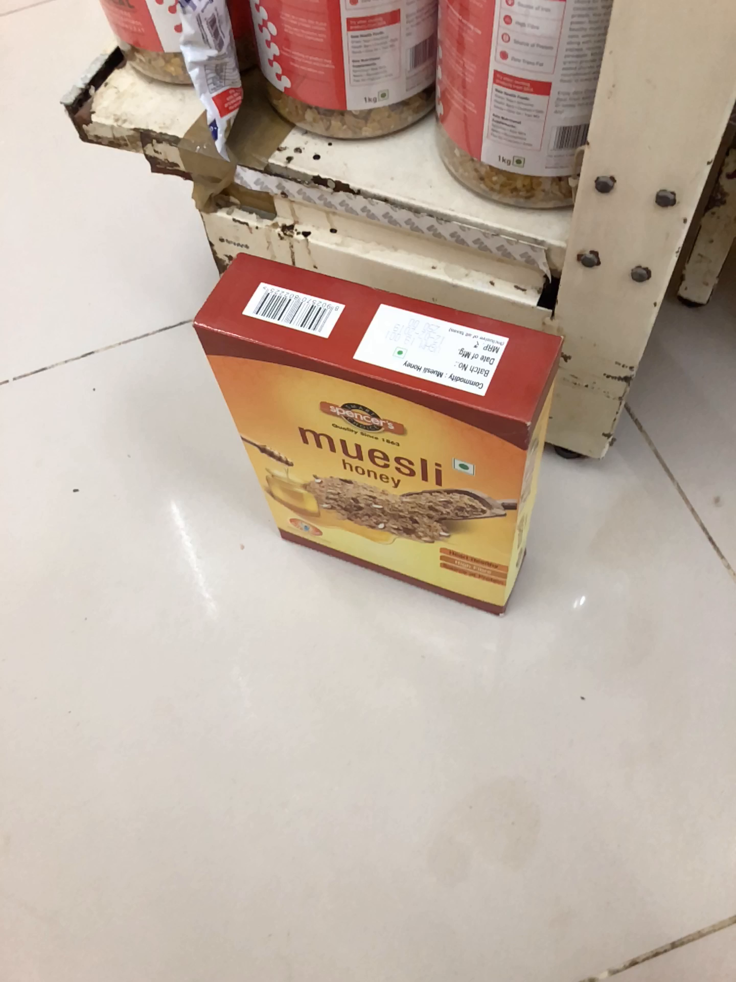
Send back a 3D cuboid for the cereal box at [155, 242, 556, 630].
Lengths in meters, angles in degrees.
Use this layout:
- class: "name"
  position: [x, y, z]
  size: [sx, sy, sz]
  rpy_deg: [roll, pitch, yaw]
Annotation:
- class: "cereal box"
  position: [0.004, -0.017, 0.510]
  size: [0.190, 0.259, 0.060]
  rpy_deg: [19, 65, 16]
